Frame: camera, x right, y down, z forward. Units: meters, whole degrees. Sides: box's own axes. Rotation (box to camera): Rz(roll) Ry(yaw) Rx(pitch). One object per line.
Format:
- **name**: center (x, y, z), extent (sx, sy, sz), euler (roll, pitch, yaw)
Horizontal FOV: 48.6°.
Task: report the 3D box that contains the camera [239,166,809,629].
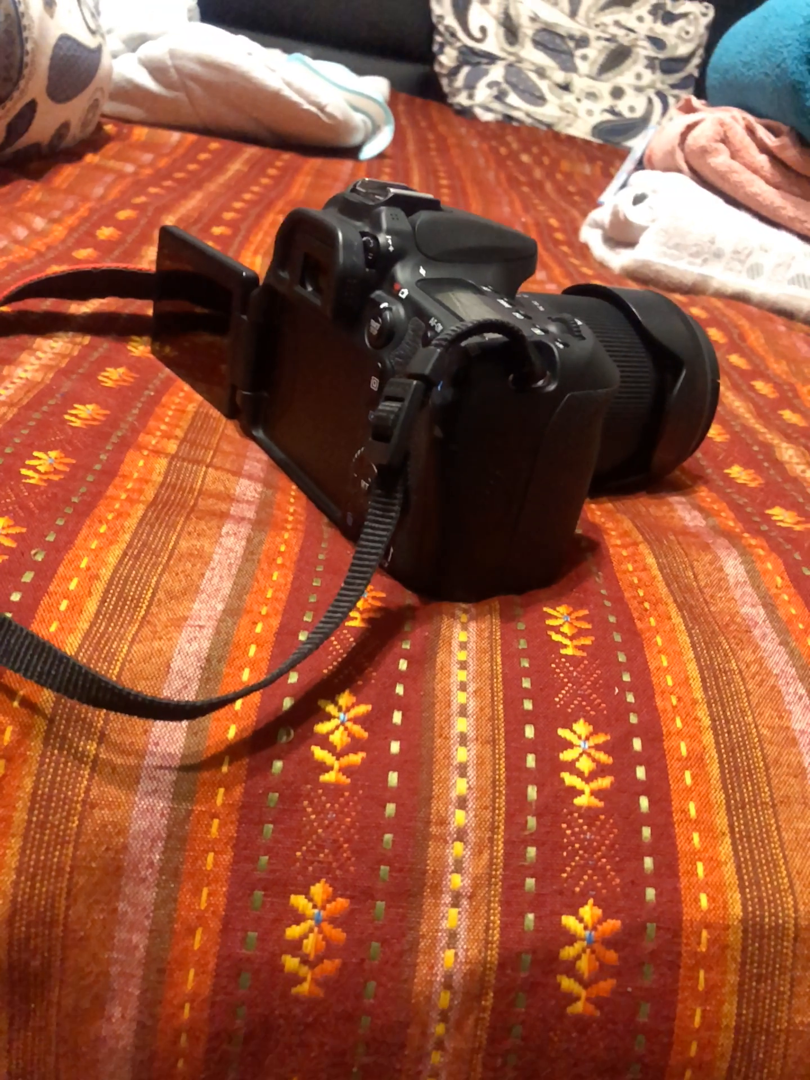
- **camera**: center (0.050, -0.064, 0.331), extent (0.171, 0.099, 0.131), euler (-12, 38, -35)
